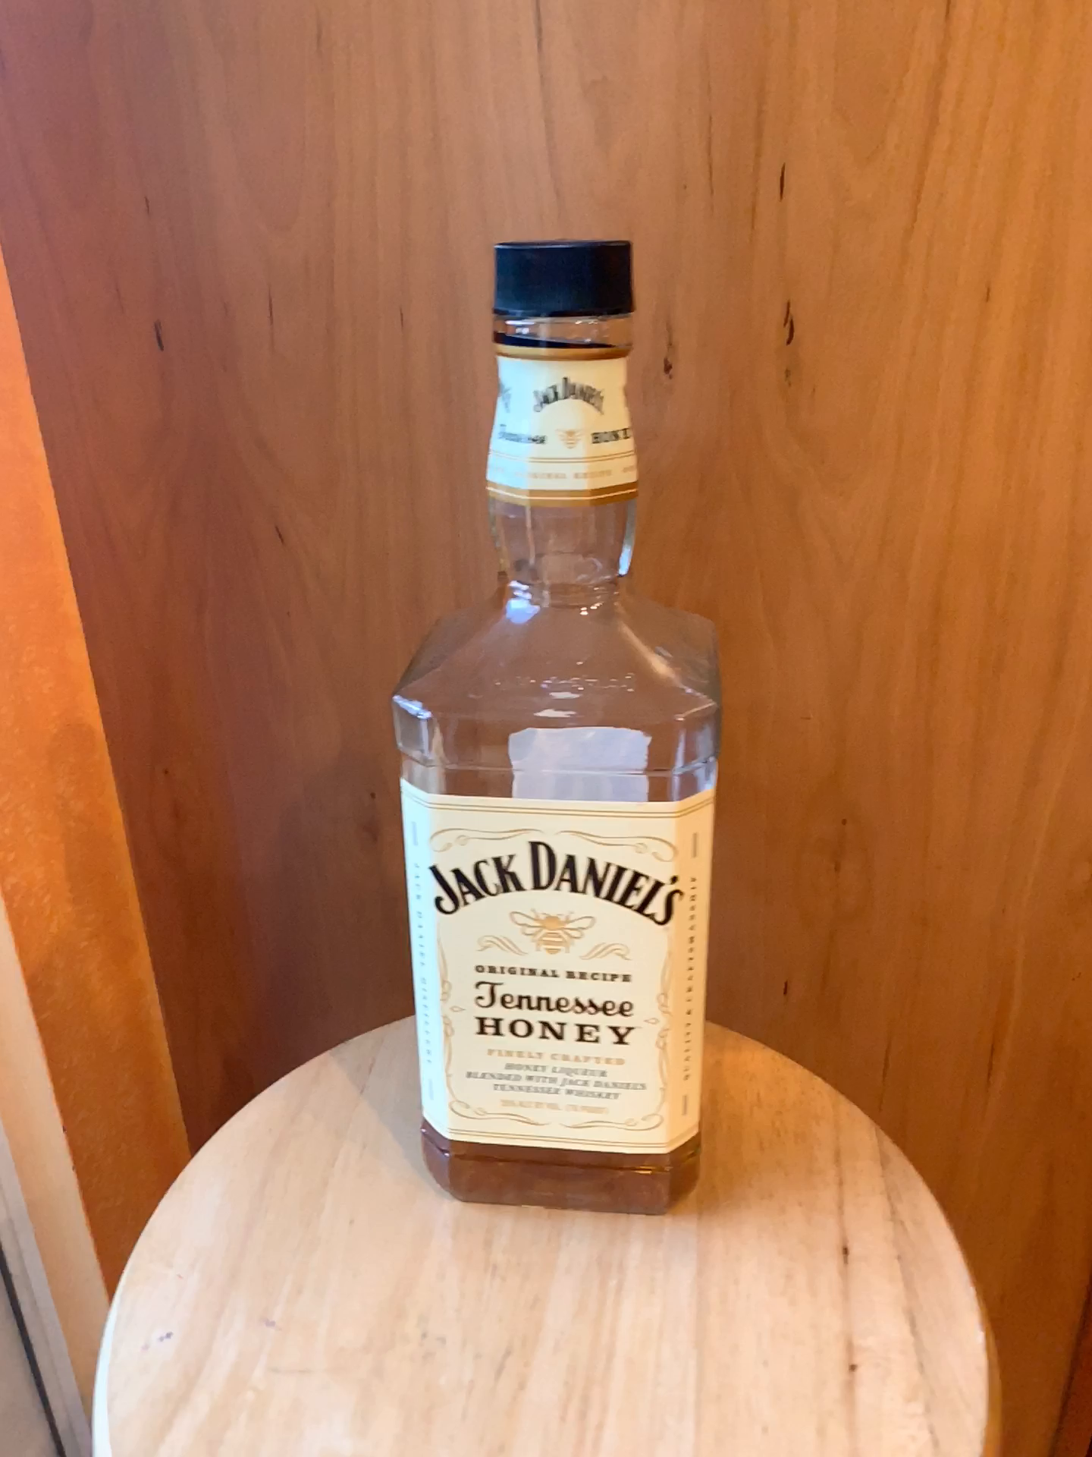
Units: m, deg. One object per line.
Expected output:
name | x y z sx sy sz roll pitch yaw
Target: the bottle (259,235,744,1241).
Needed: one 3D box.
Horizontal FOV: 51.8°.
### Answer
bottle | -0.003 0.011 0.387 0.120 0.328 0.100 1 24 6
